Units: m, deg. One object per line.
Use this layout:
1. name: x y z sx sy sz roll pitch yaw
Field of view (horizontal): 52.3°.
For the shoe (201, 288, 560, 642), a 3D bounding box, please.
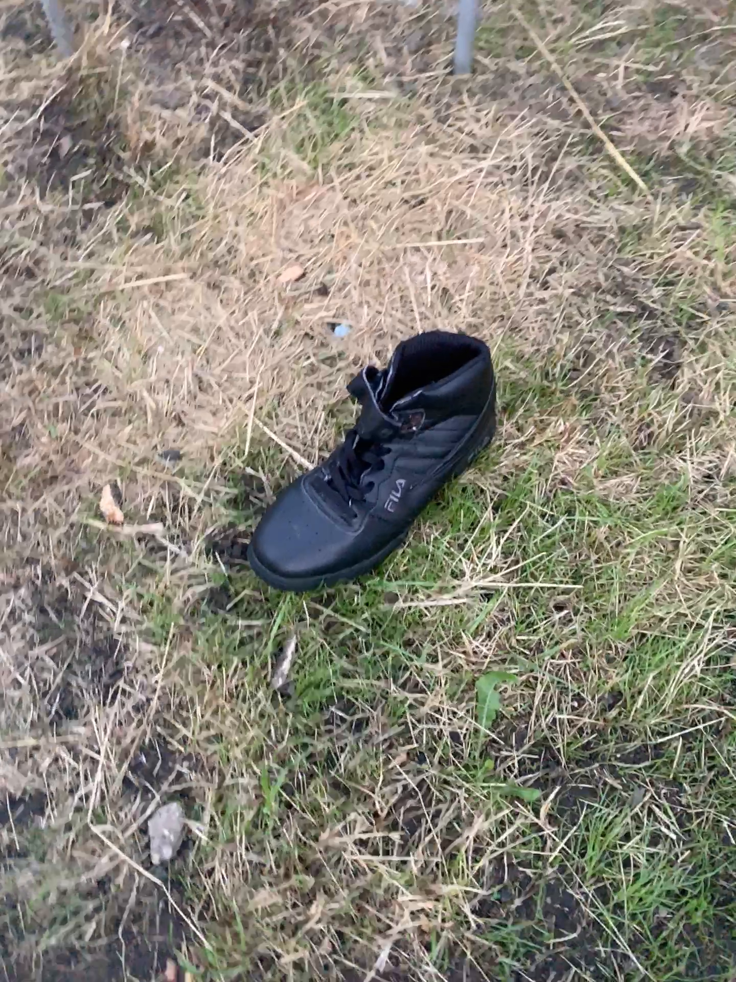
1. shoe: 0.015 -0.021 0.619 0.271 0.119 0.110 -41 73 -15
